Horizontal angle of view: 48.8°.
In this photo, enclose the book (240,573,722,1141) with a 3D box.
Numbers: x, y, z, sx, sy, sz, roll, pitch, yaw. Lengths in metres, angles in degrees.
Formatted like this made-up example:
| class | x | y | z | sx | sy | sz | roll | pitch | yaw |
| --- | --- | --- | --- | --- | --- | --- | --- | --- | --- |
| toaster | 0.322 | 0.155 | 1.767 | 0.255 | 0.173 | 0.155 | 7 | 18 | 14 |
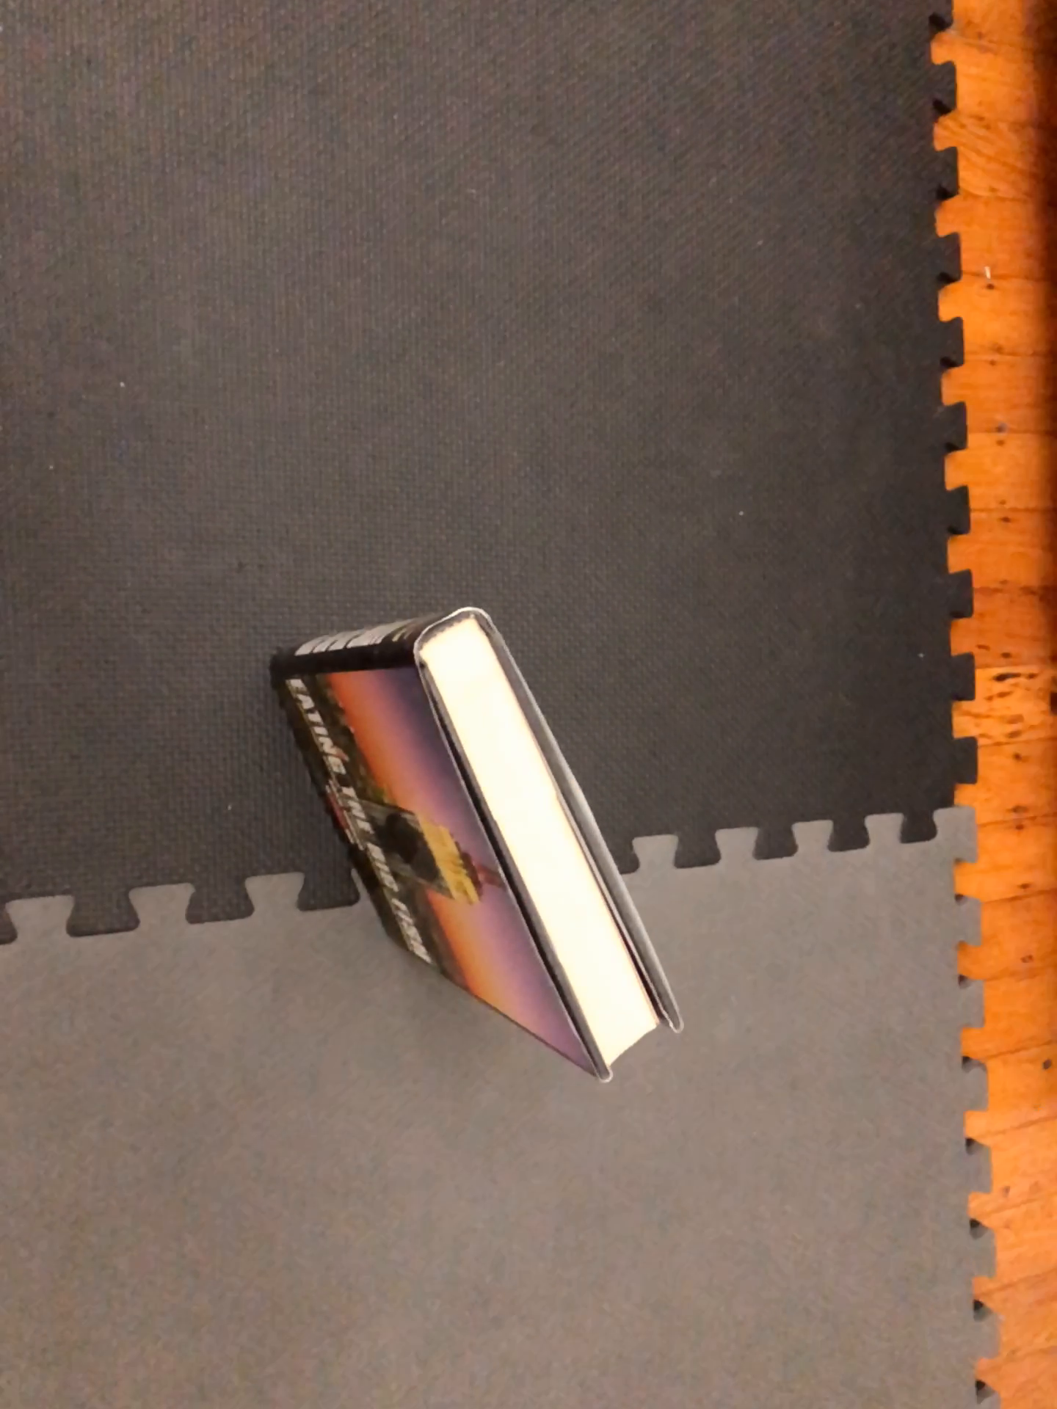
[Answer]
| class | x | y | z | sx | sy | sz | roll | pitch | yaw |
| --- | --- | --- | --- | --- | --- | --- | --- | --- | --- |
| book | -0.040 | 0.049 | 0.492 | 0.050 | 0.260 | 0.180 | -28 | 100 | -19 |
